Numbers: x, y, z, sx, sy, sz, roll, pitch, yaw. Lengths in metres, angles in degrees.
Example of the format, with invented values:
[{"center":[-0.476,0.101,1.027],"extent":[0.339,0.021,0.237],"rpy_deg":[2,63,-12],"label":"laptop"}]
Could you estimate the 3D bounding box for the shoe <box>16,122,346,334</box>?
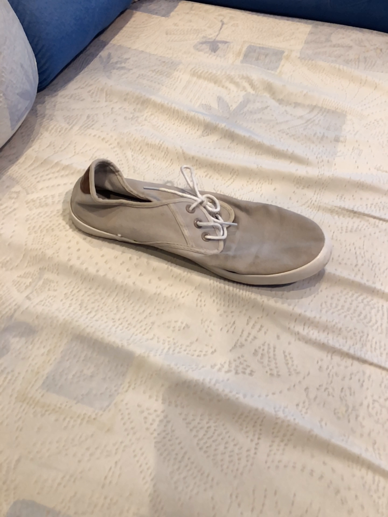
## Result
[{"center":[-0.009,-0.035,0.406],"extent":[0.270,0.080,0.111],"rpy_deg":[17,54,10],"label":"shoe"}]
